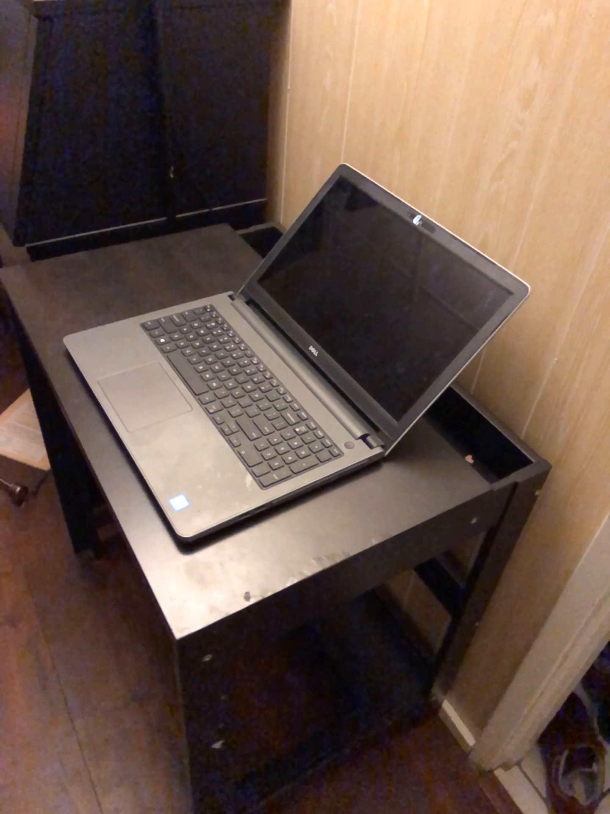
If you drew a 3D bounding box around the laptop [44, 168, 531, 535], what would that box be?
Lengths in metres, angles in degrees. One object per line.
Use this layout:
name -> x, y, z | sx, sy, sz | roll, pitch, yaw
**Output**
laptop -> -0.032, -0.110, 0.813 | 0.426, 0.172, 0.369 | -20, 47, -27
